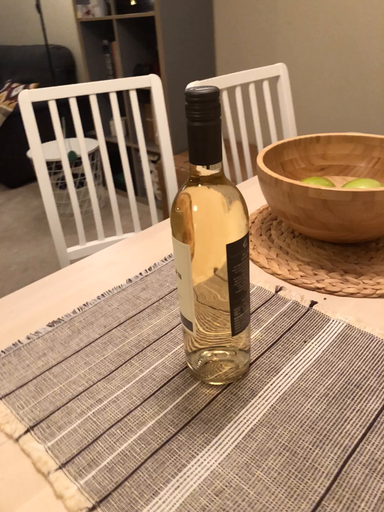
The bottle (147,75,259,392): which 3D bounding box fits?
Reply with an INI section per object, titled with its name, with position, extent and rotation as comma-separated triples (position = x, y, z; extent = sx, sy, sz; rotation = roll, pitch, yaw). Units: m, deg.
[bottle]
position = 0.022, -0.007, 0.410
extent = 0.080, 0.298, 0.081
rotation = -3, 29, 2
